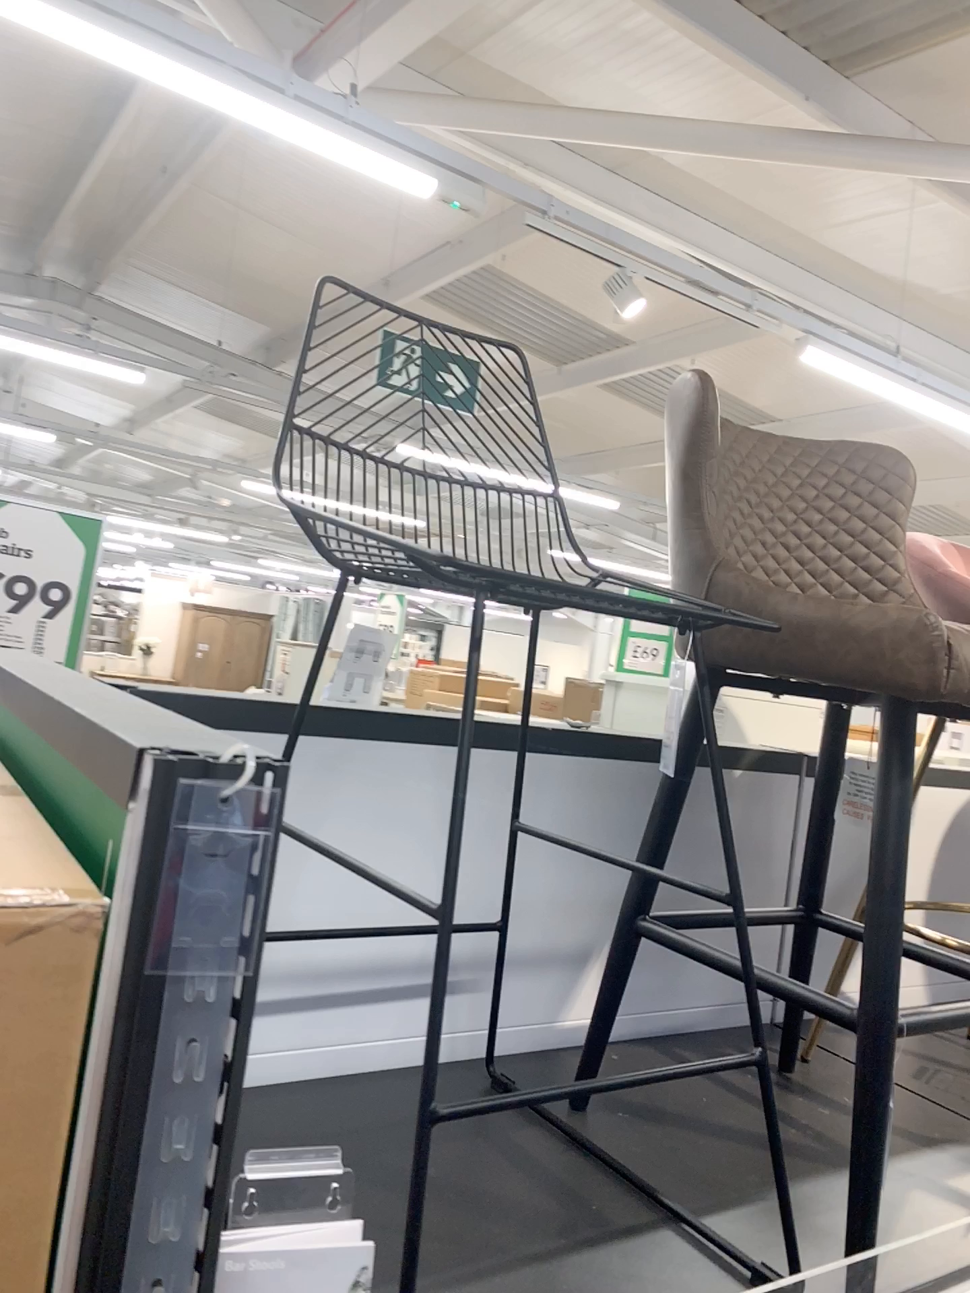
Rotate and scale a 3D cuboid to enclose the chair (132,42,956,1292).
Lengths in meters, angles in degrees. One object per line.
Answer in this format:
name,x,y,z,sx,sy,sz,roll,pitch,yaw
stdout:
chair,0.038,0.076,1.018,0.504,0.965,0.530,10,-3,-34
